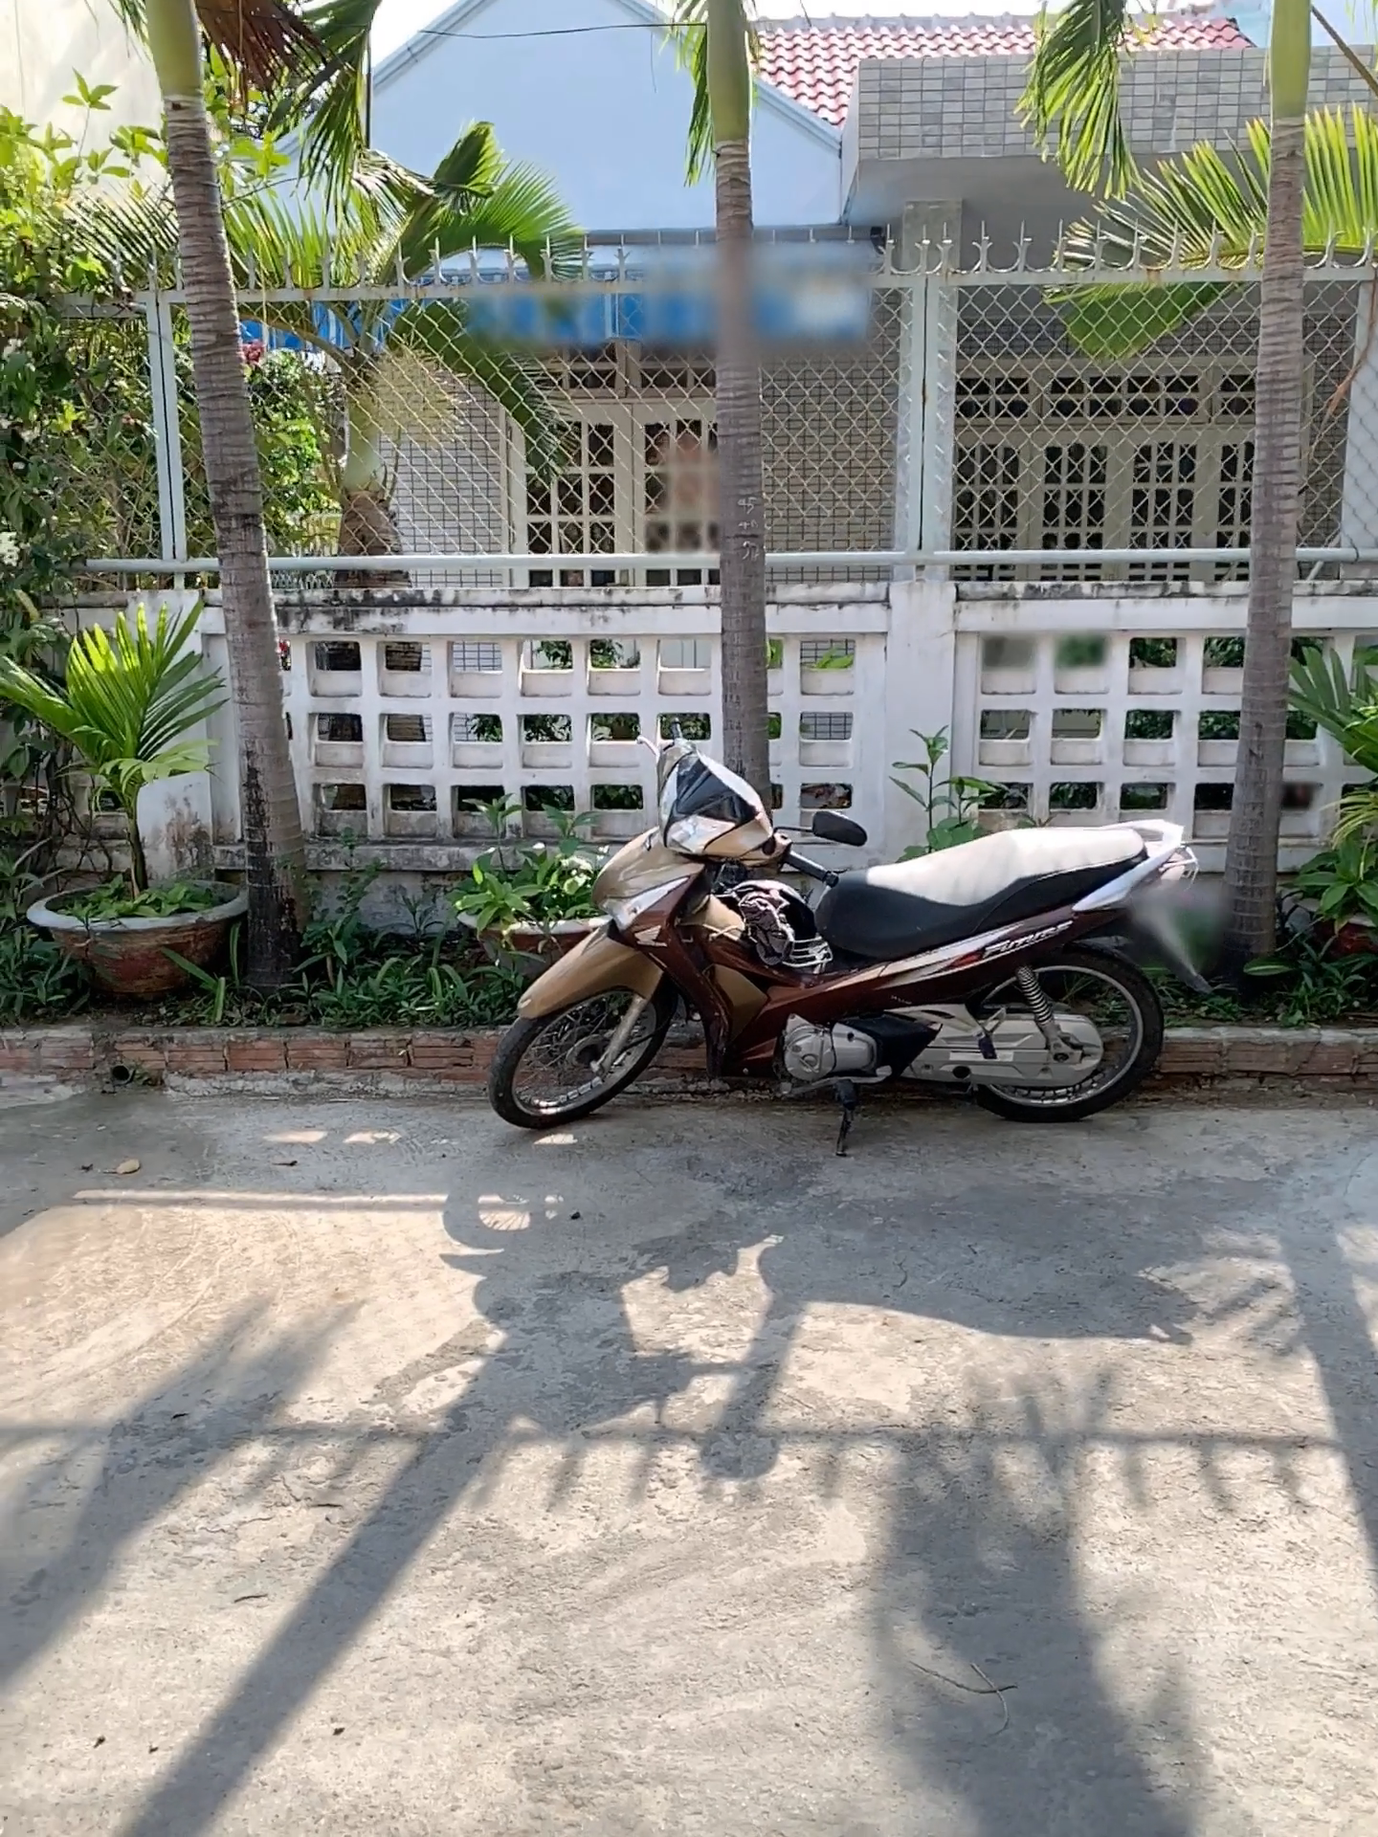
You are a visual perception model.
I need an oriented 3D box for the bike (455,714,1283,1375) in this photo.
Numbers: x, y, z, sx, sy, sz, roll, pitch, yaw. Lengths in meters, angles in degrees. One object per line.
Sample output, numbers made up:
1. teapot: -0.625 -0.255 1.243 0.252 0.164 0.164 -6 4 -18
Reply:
1. bike: 0.452 0.244 3.647 1.974 1.444 0.614 -3 11 -10
